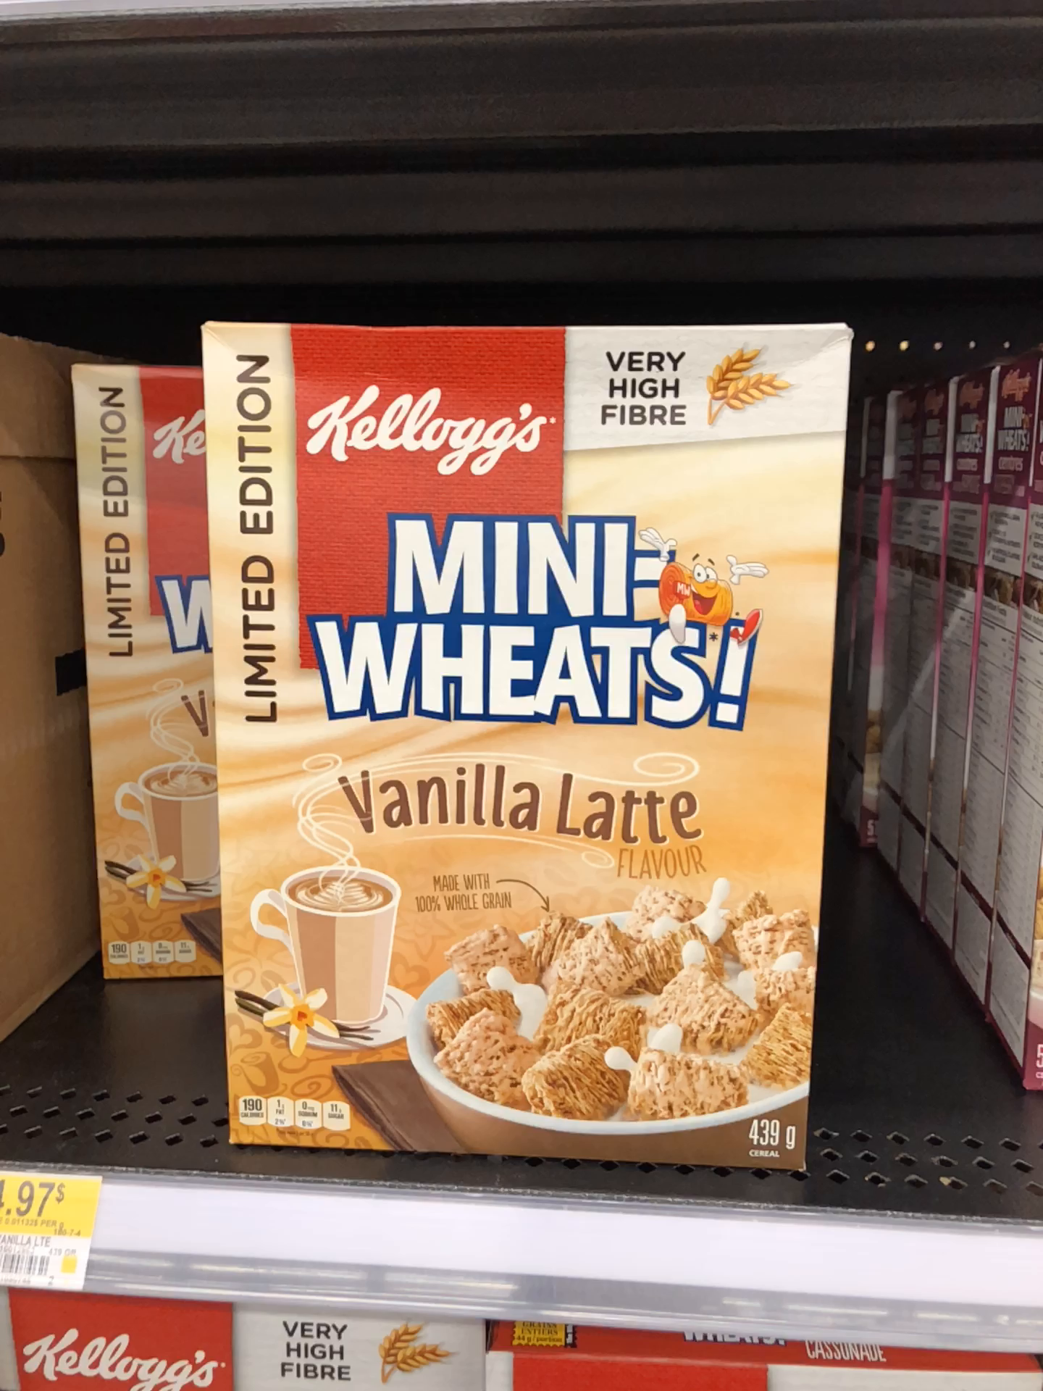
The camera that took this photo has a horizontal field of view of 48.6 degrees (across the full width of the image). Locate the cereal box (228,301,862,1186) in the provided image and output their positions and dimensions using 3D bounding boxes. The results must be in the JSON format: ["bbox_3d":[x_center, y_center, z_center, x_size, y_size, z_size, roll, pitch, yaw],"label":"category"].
[{"bbox_3d":[0.008,0.016,0.396,0.190,0.279,0.060,1,9,5],"label":"cereal box"}]
